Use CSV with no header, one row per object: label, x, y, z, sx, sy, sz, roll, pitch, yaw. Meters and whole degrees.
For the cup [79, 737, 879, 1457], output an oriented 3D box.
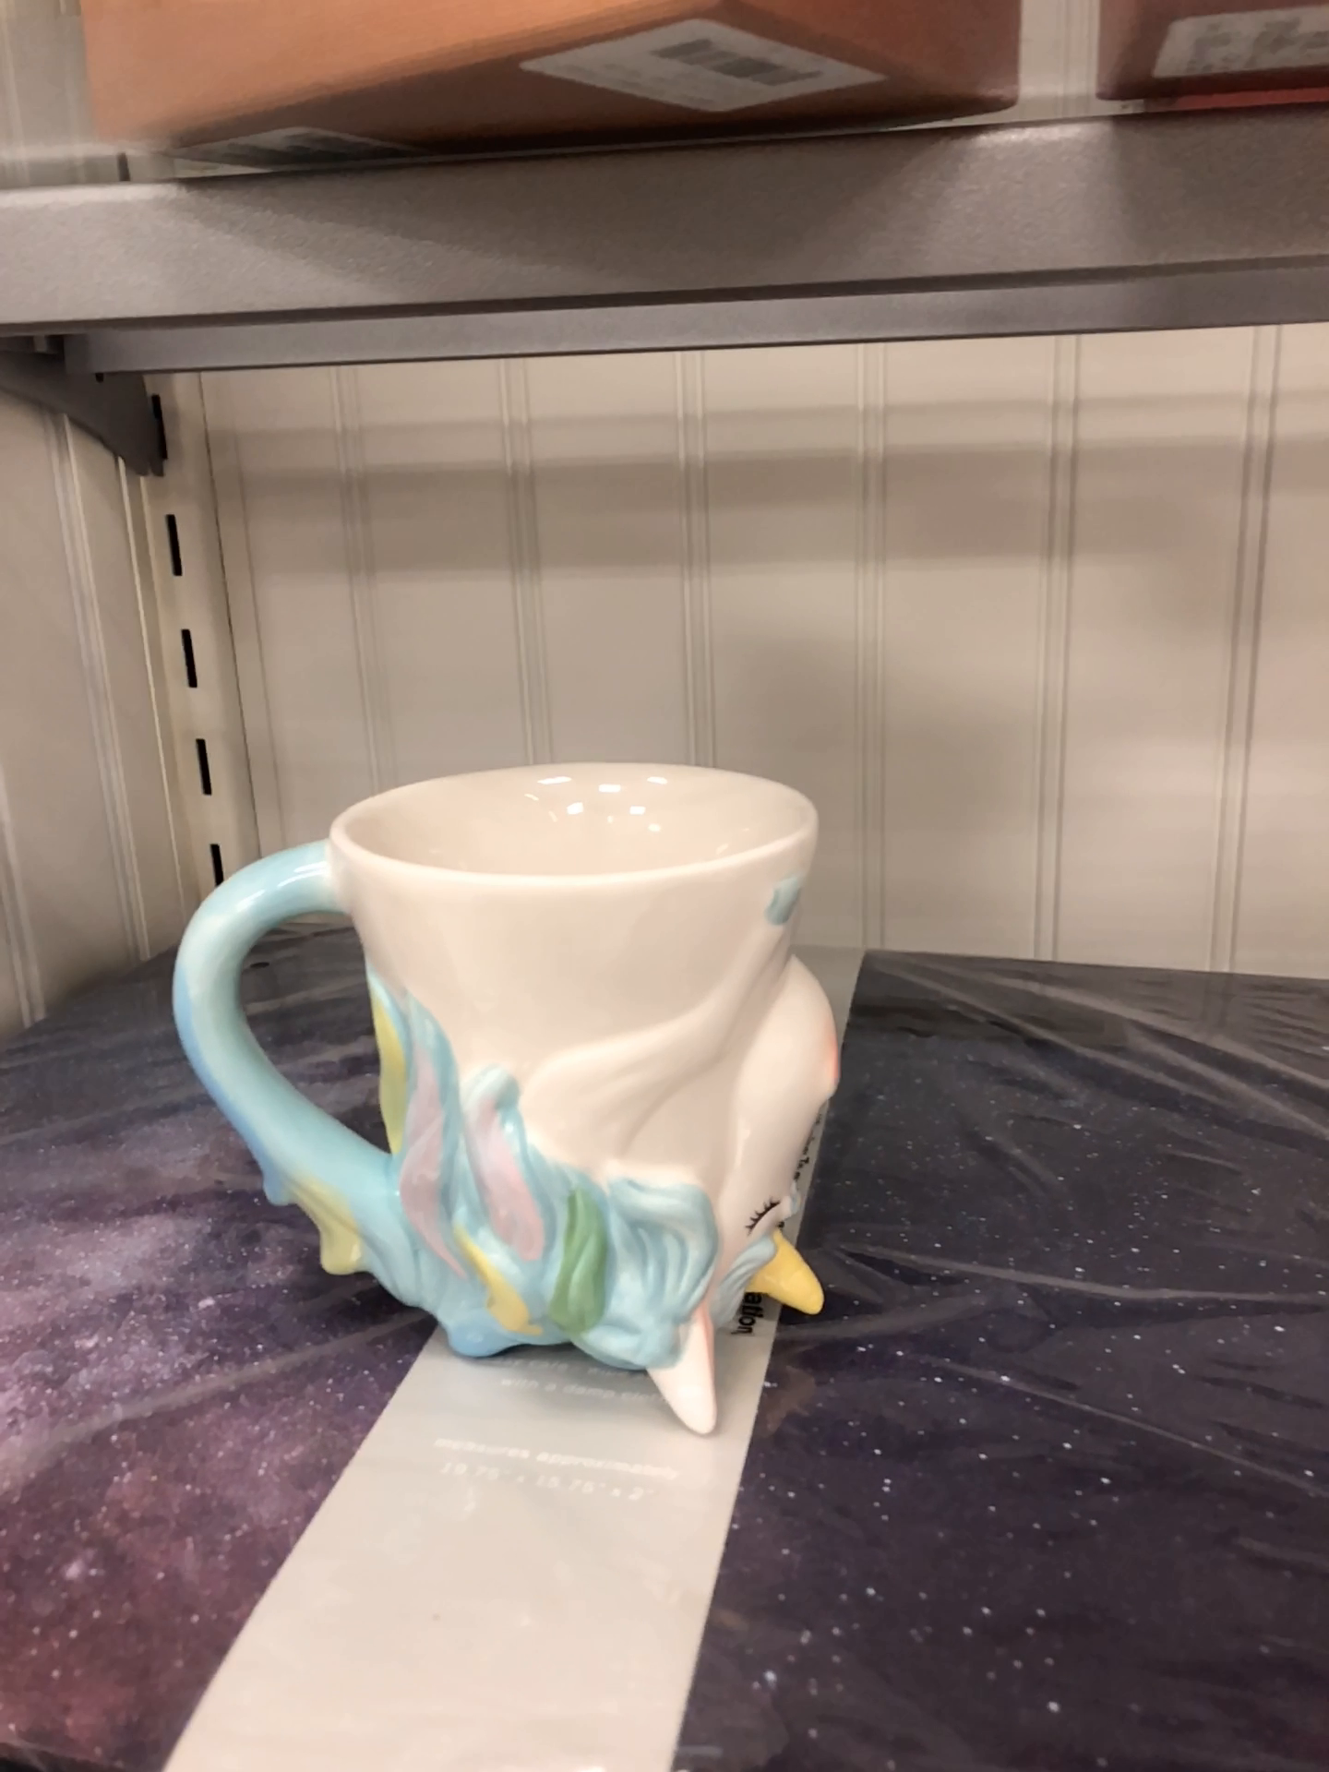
cup,-0.030,0.039,0.321,0.140,0.118,0.101,-2,17,1
